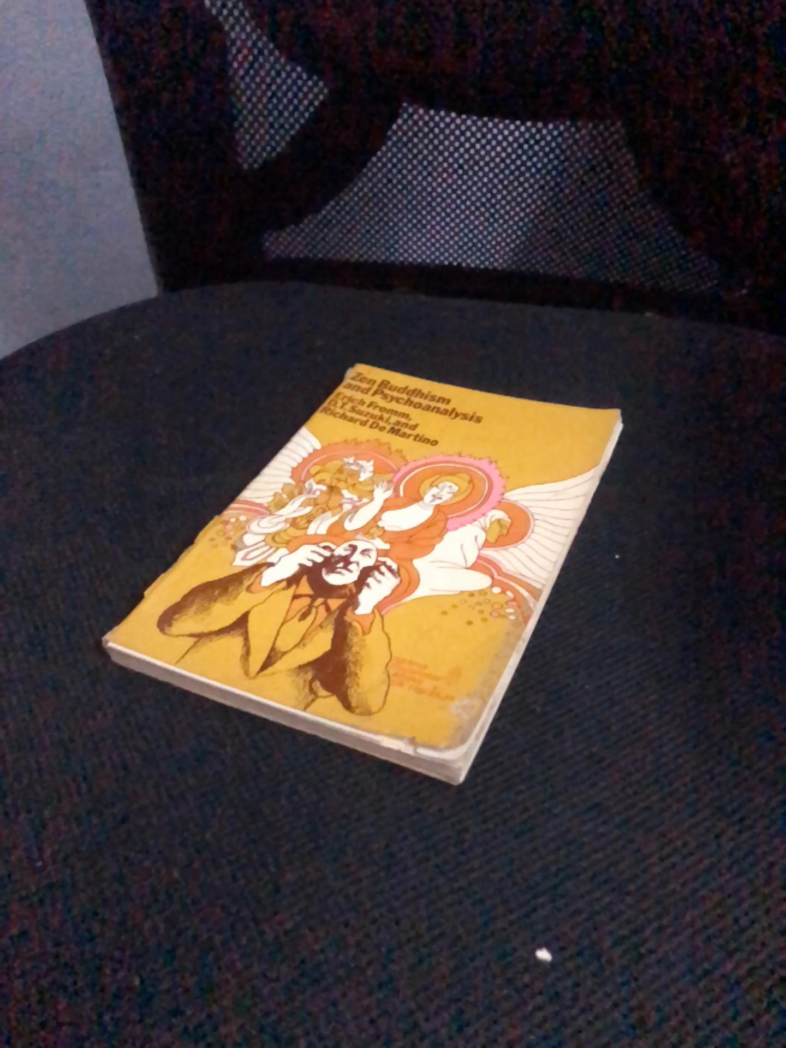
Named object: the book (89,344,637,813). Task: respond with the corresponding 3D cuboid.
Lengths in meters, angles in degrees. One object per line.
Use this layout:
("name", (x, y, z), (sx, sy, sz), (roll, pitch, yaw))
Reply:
("book", (0.003, -0.001, 0.338), (0.136, 0.020, 0.201), (15, 44, 19))
